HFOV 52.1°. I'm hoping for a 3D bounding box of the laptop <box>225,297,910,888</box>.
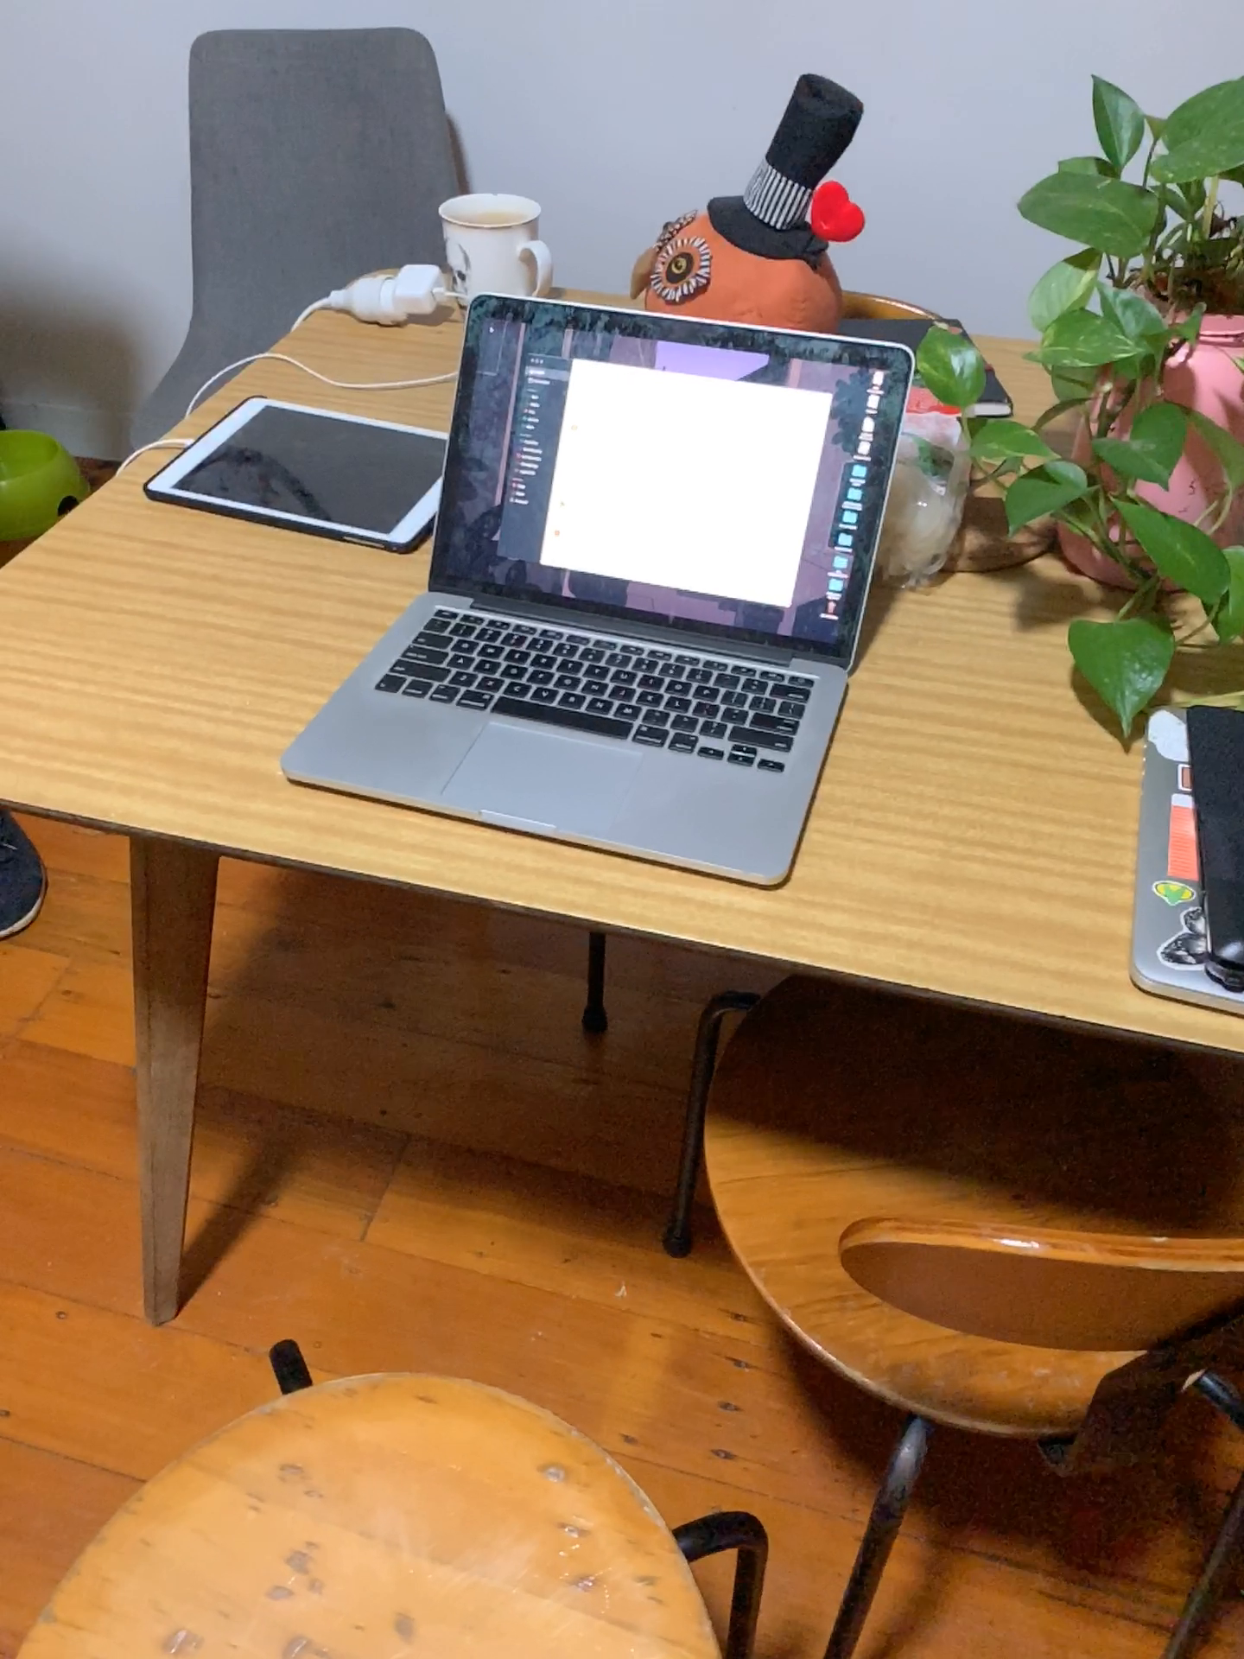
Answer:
[{"bbox_3d":[-0.007,-0.146,0.673,0.263,0.144,0.288,12,42,14],"label":"laptop"}]
